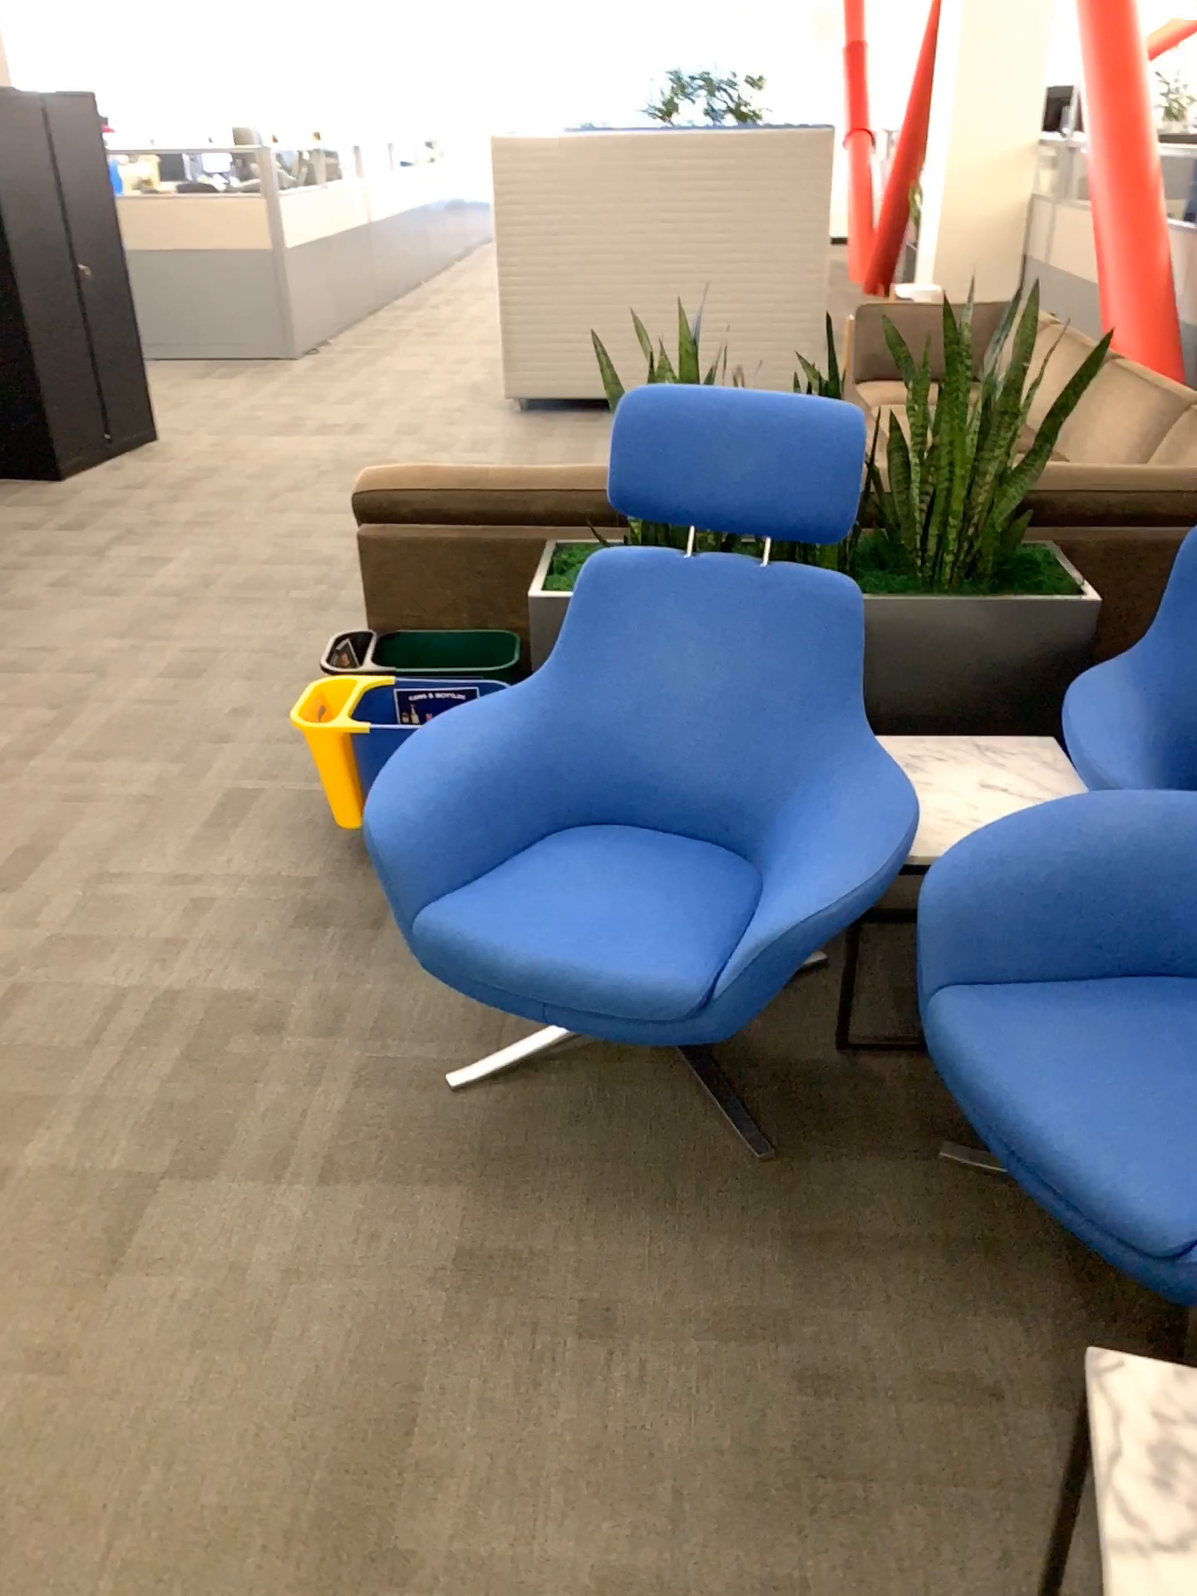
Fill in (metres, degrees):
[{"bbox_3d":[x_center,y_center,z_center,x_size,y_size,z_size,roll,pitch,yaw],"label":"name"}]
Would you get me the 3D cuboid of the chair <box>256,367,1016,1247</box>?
[{"bbox_3d":[0.090,-0.045,2.049,0.922,1.143,0.663,12,31,23],"label":"chair"}]
